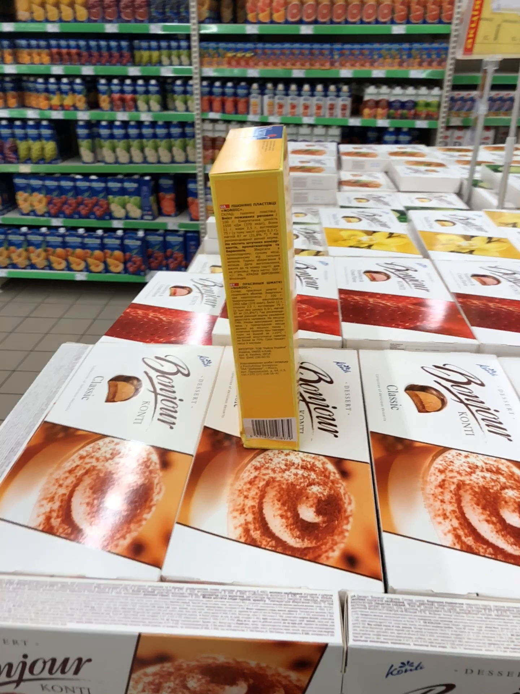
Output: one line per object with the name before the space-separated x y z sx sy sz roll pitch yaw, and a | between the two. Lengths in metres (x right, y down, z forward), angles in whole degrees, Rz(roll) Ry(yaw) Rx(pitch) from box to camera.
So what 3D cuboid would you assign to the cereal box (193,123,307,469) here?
cereal box | 0.003 -0.044 0.448 0.050 0.218 0.161 -4 30 6
